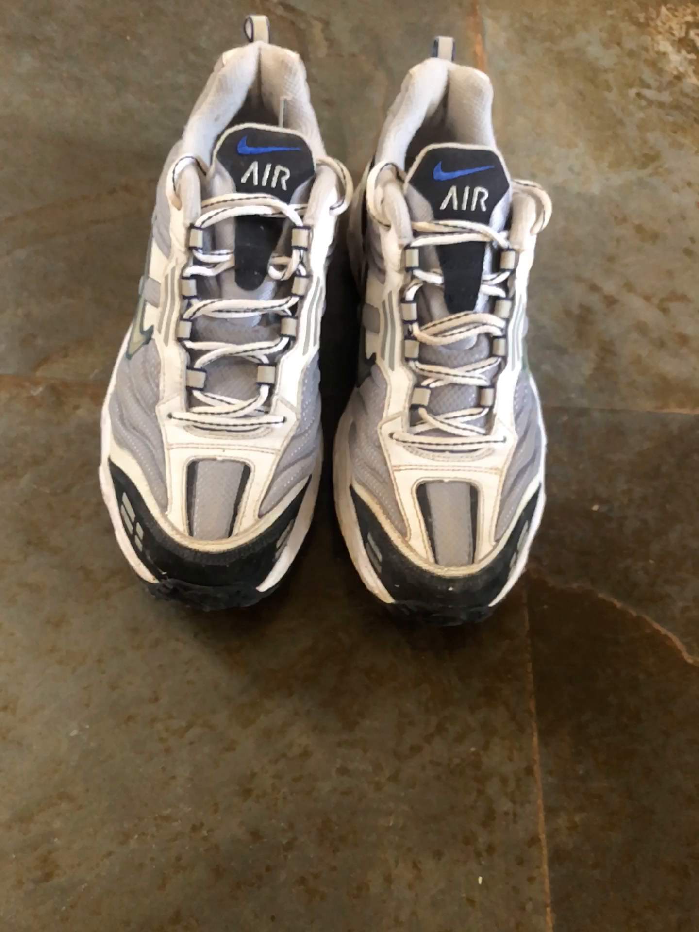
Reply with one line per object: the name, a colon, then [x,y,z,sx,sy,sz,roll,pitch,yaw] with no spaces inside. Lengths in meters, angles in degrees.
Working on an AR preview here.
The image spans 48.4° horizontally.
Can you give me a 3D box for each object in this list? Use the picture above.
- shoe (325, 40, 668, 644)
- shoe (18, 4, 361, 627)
shoe: [0.049,-0.059,0.367,0.110,0.109,0.261,2,64,-5]
shoe: [-0.057,-0.070,0.363,0.110,0.119,0.261,2,64,-5]
